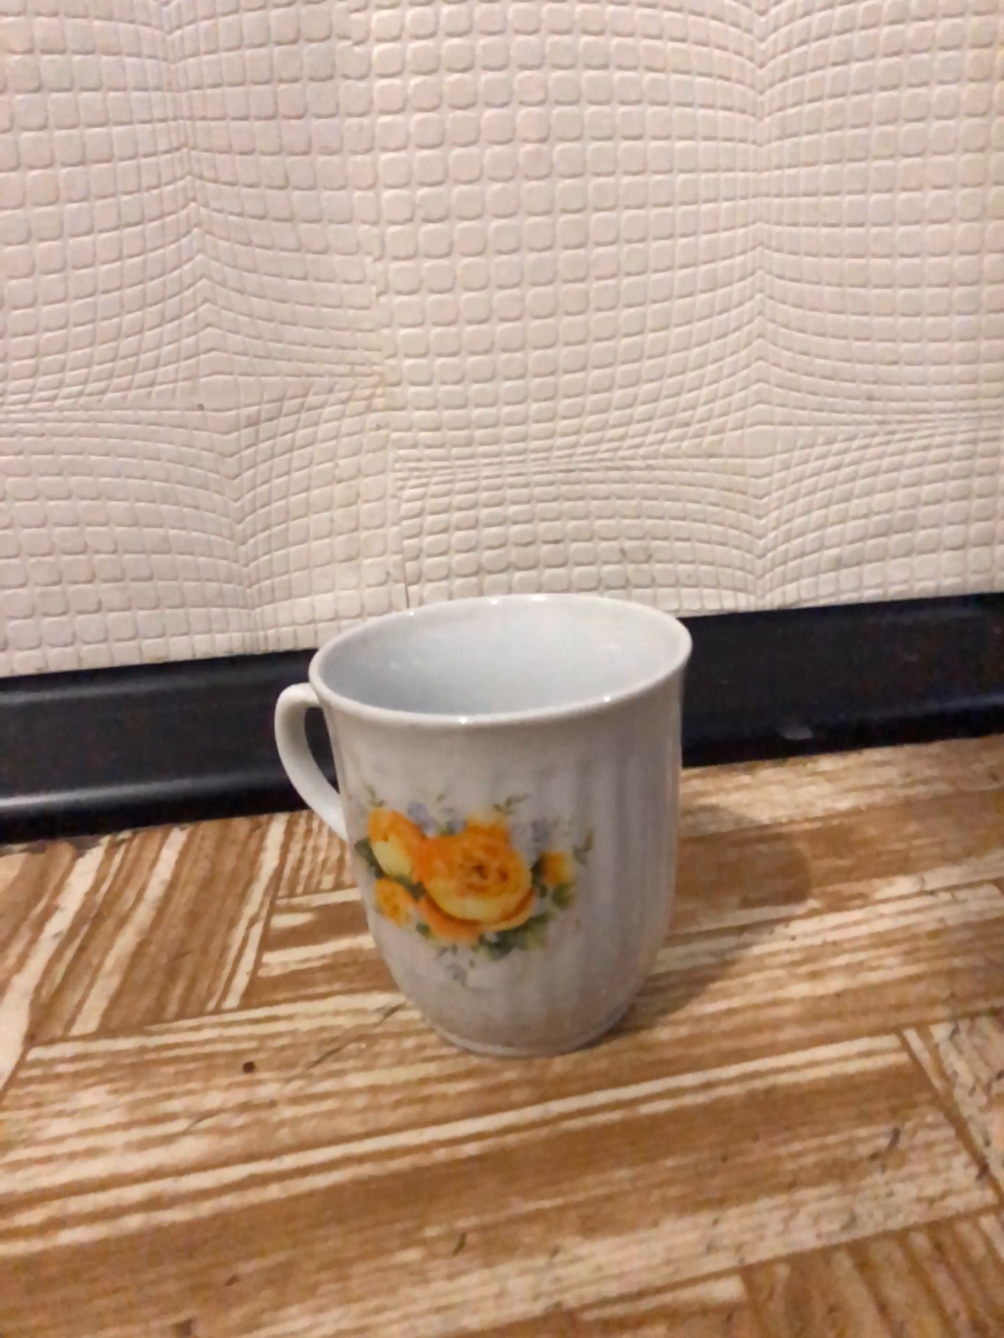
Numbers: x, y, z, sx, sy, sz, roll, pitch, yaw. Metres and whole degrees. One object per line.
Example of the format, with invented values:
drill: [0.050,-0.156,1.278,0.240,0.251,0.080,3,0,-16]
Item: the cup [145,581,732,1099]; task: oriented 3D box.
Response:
cup: [-0.004,0.027,0.244,0.097,0.069,0.095,-3,18,1]
